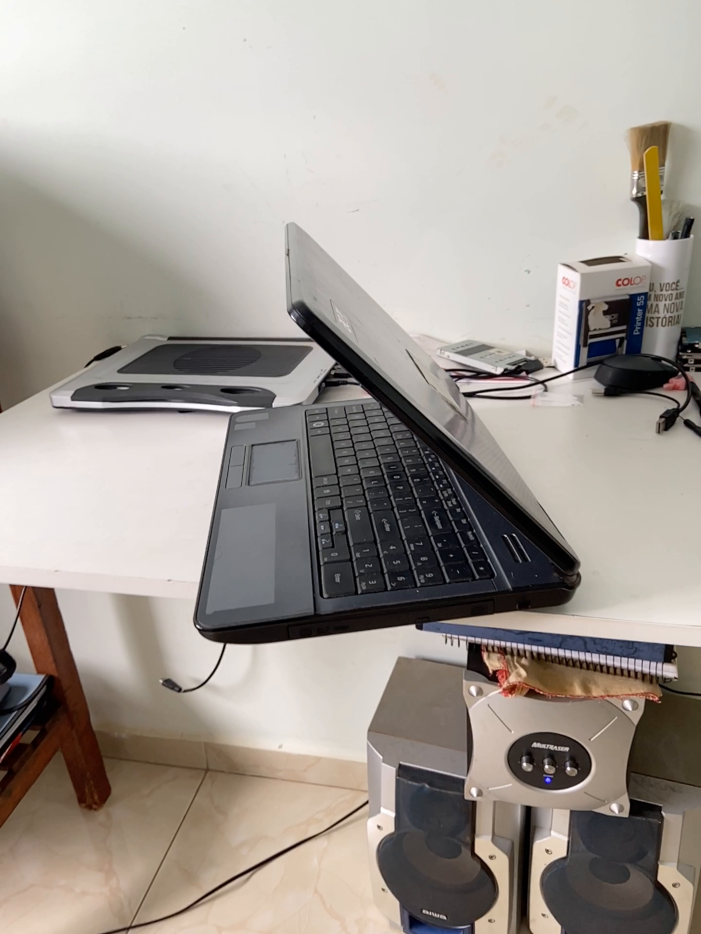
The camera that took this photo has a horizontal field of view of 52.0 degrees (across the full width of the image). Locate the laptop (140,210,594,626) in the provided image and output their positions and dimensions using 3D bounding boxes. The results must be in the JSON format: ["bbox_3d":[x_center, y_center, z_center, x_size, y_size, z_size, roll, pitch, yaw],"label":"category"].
[{"bbox_3d":[0.000,-0.077,0.569,0.232,0.183,0.368,-6,25,-3],"label":"laptop"}]
